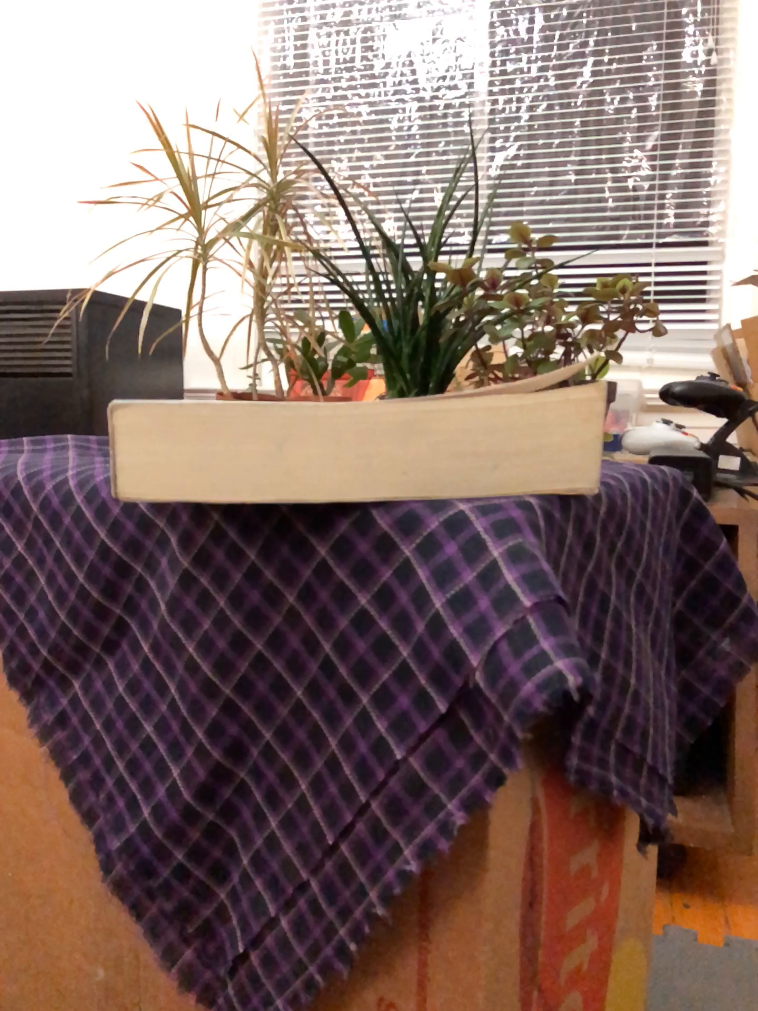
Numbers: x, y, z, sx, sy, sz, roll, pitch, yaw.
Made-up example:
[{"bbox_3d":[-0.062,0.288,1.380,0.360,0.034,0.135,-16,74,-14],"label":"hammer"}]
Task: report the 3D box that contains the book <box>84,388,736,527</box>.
[{"bbox_3d":[-0.003,-0.028,0.383,0.200,0.040,0.260,0,6,-8],"label":"book"}]
